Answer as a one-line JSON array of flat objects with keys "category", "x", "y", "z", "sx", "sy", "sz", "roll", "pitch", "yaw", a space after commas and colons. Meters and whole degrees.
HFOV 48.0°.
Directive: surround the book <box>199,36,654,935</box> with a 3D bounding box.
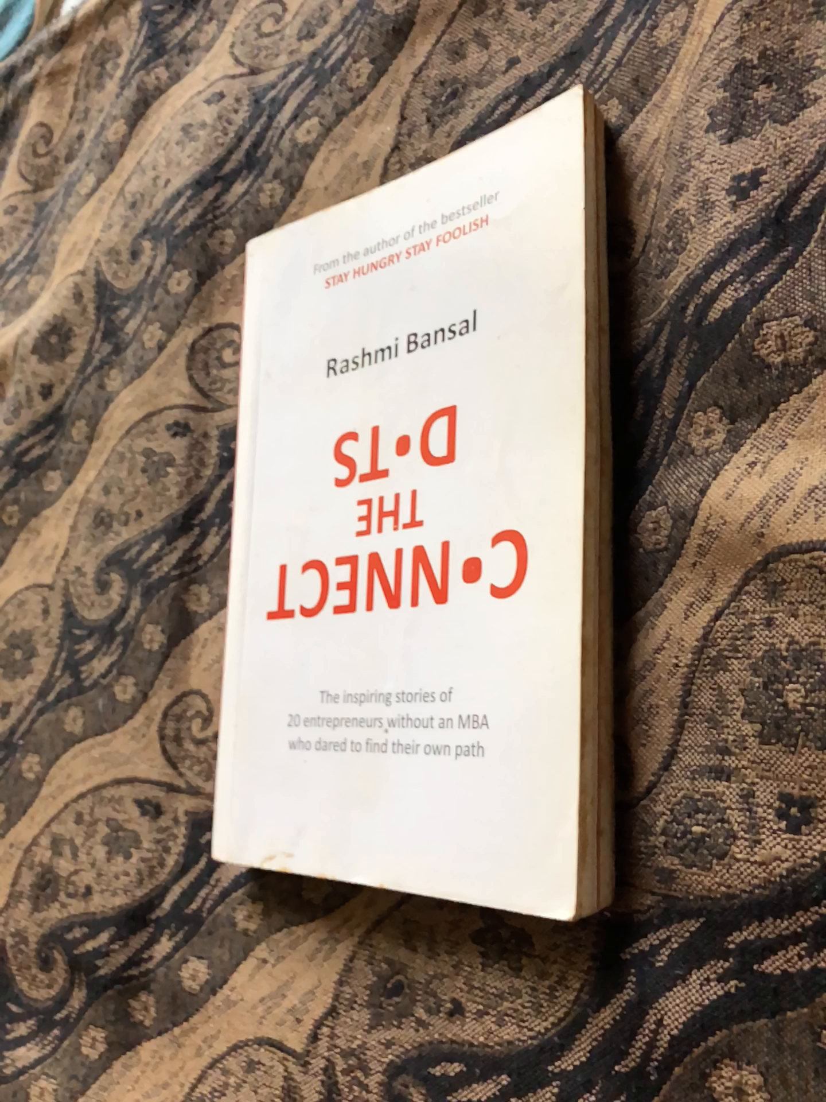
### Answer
[{"category": "book", "x": 0.000, "y": -0.015, "z": 0.276, "sx": 0.131, "sy": 0.040, "sz": 0.220, "roll": -9, "pitch": 73, "yaw": 42}]
